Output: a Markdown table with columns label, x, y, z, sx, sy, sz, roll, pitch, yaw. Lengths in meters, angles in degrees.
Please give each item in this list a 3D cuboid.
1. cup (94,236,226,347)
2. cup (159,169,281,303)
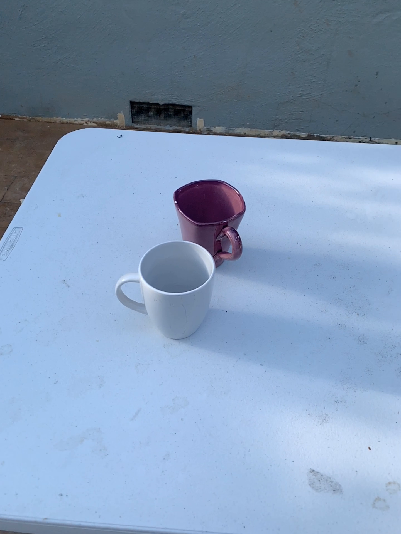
| label | x | y | z | sx | sy | sz | roll | pitch | yaw |
| --- | --- | --- | --- | --- | --- | --- | --- | --- | --- |
| cup | -0.047 | 0.033 | 0.541 | 0.150 | 0.099 | 0.090 | 5 | 46 | 2 |
| cup | 0.023 | -0.049 | 0.608 | 0.110 | 0.109 | 0.141 | -22 | 50 | -22 |
